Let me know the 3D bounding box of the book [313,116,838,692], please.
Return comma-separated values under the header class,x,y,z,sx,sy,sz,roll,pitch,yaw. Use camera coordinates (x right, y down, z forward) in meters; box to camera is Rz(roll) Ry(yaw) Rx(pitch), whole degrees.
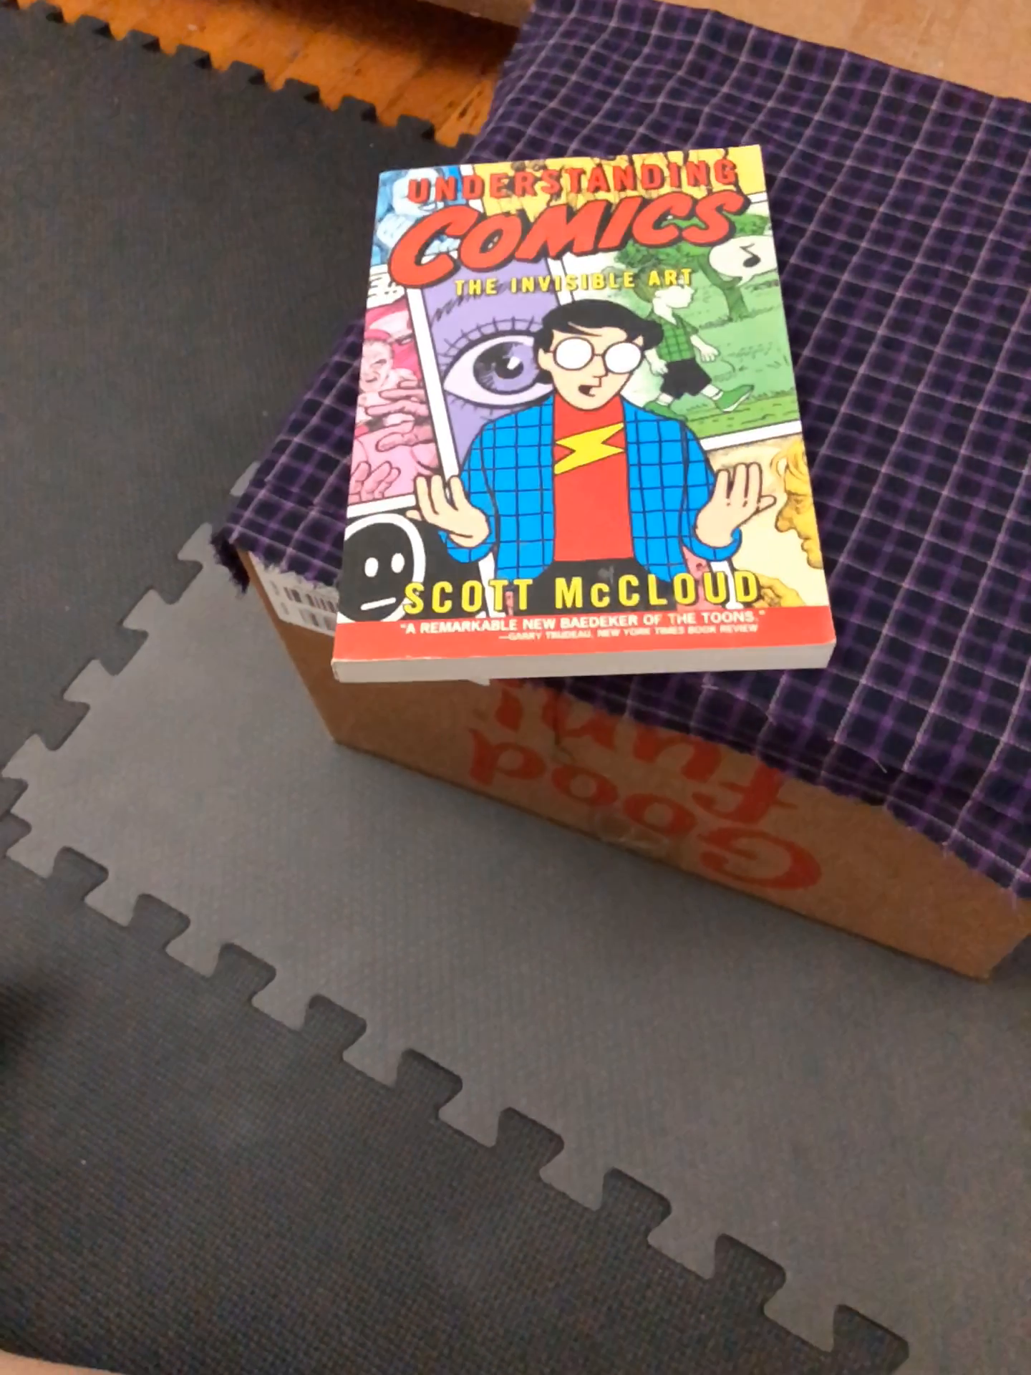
class,x,y,z,sx,sy,sz,roll,pitch,yaw
book,0.020,-0.124,0.445,0.170,0.020,0.271,-2,61,4
